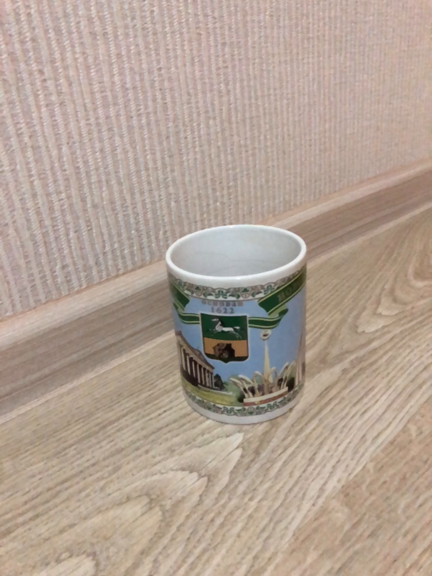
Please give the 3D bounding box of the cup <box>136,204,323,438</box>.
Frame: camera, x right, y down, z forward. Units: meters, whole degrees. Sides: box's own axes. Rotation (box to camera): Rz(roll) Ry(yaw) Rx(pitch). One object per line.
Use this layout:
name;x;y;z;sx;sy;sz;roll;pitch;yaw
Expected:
cup;0.020;0.010;0.306;0.082;0.096;0.122;3;27;18
